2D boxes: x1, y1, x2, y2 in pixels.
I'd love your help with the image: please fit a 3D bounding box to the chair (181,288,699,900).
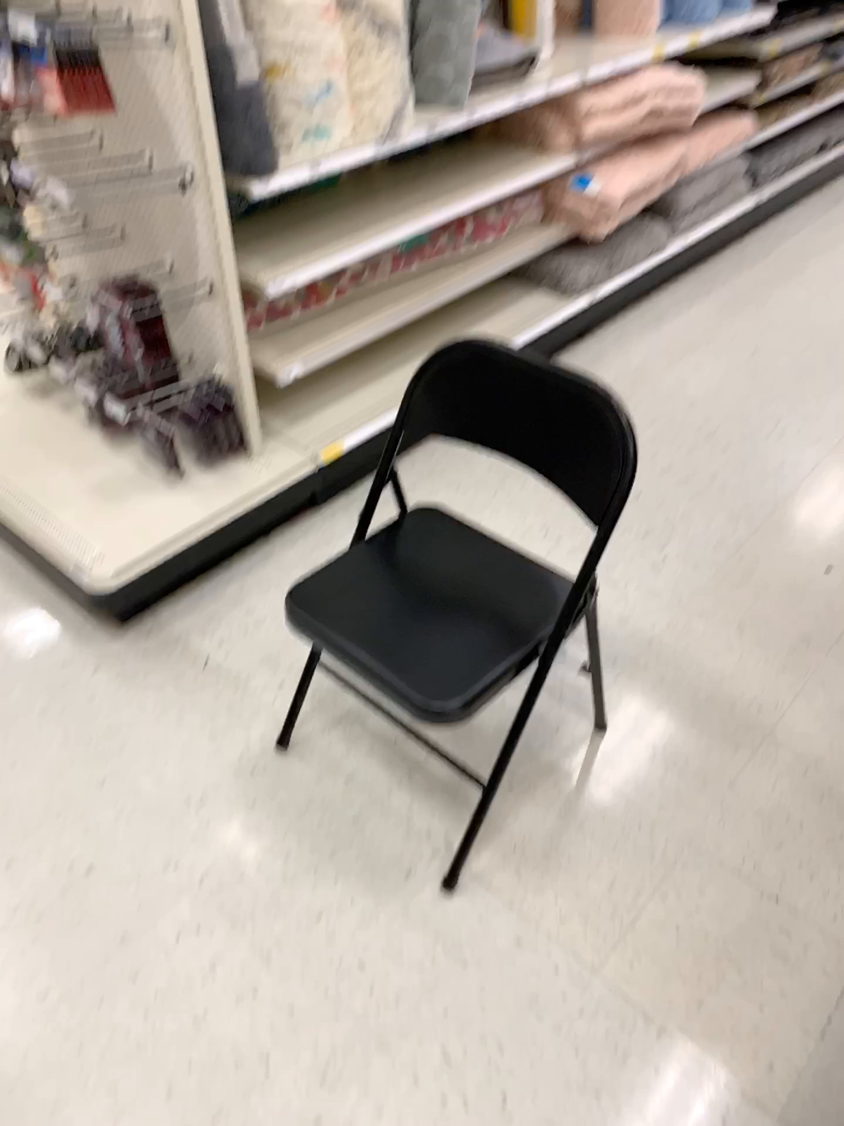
[{"bbox_3d":[0.038,0.038,1.447,0.491,0.716,0.551,30,50,31],"label":"chair"}]
